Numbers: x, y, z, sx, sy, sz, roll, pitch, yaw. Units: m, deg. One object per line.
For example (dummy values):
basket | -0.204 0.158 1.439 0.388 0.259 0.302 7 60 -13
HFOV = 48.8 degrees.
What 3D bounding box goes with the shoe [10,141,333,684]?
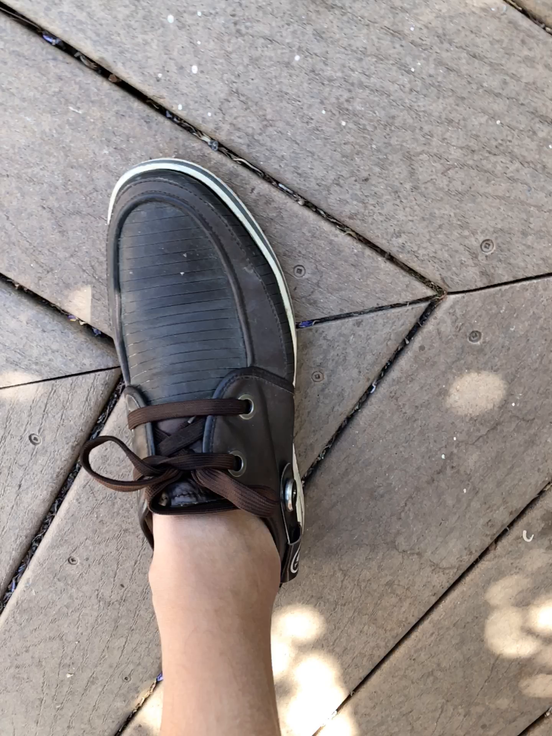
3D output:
shoe | -0.038 0.031 0.350 0.107 0.096 0.289 -6 110 7
